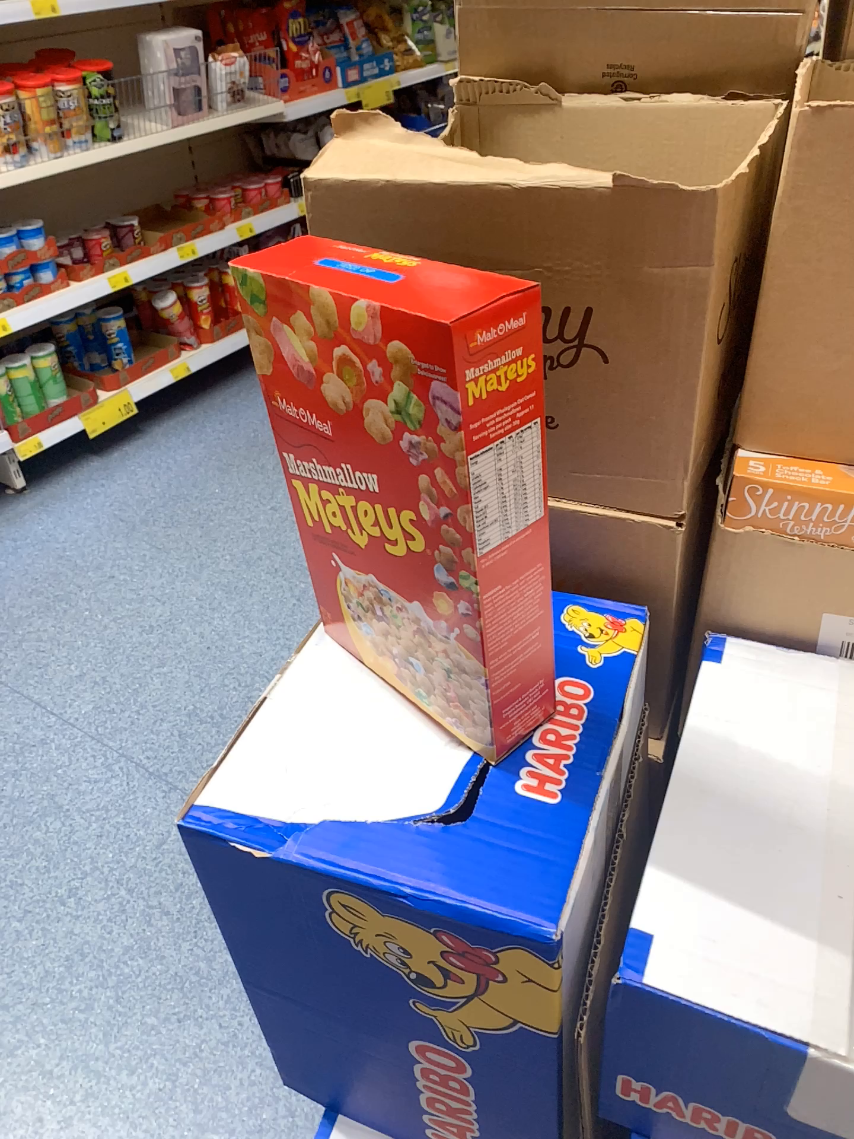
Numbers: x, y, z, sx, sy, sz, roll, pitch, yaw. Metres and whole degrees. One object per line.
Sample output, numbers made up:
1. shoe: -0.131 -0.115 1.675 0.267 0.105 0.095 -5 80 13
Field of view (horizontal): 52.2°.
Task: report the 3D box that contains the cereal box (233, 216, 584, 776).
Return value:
1. cereal box: -0.005 -0.045 0.526 0.070 0.287 0.191 -29 39 -28
